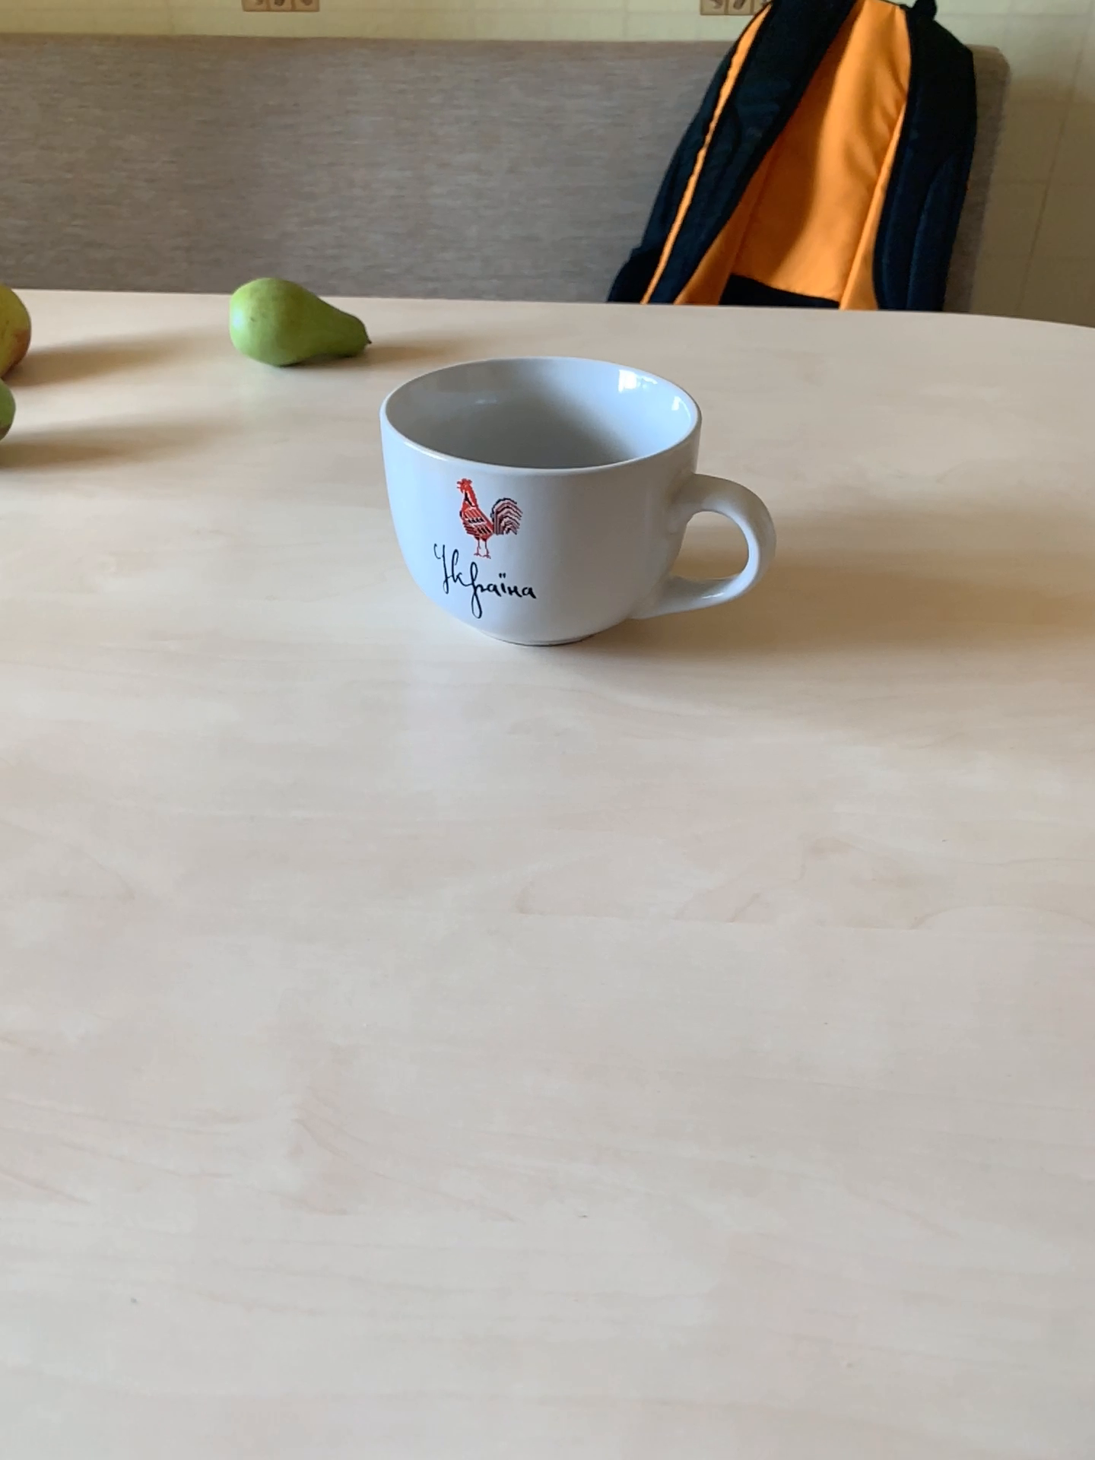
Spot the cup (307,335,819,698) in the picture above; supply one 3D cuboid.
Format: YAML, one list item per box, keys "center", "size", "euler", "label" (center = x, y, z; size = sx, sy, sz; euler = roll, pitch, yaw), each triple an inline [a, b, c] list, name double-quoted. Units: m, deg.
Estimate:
- center: [0.008, -0.077, 0.371]
  size: [0.130, 0.060, 0.100]
  euler: [16, 39, 21]
  label: "cup"
